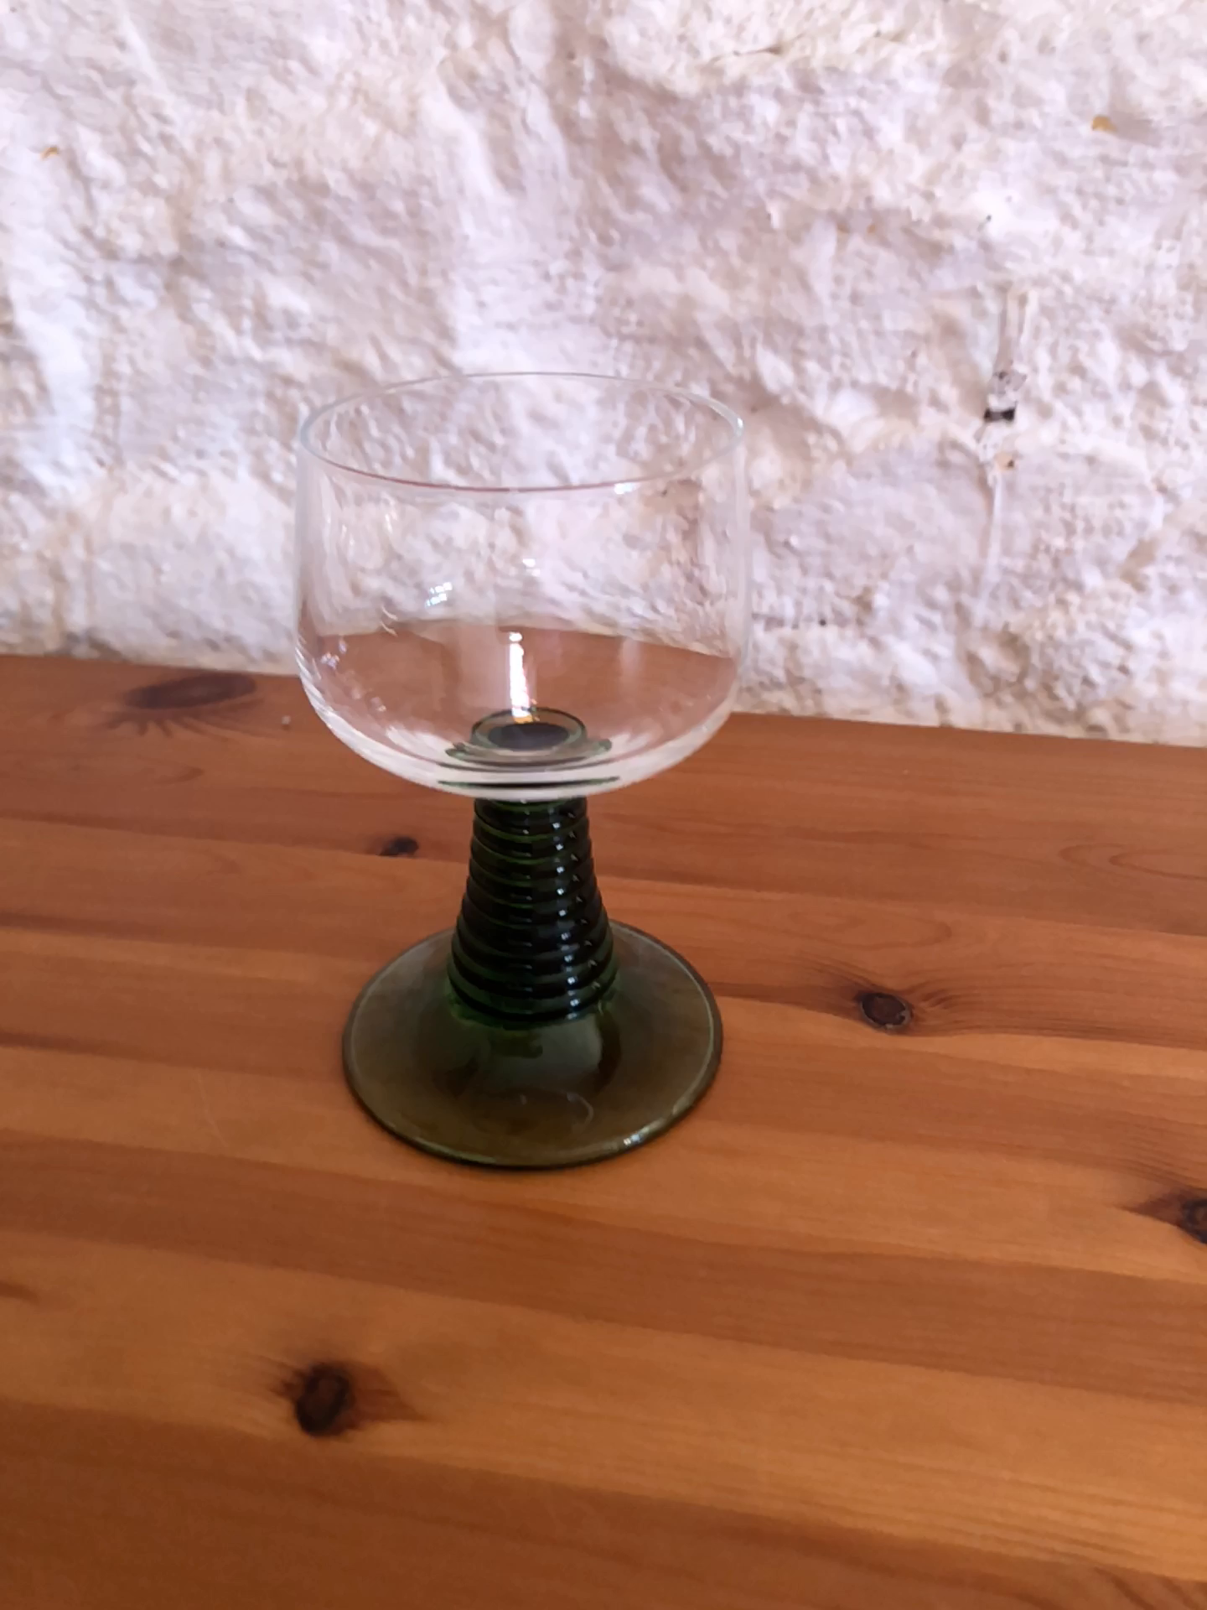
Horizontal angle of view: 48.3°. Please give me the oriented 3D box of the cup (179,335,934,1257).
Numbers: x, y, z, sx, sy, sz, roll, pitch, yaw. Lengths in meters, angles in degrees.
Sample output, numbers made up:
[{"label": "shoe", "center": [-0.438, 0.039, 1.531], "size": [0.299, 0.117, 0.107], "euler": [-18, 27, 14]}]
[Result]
[{"label": "cup", "center": [-0.009, -0.008, 0.209], "size": [0.074, 0.106, 0.073], "euler": [1, 29, 0]}]
